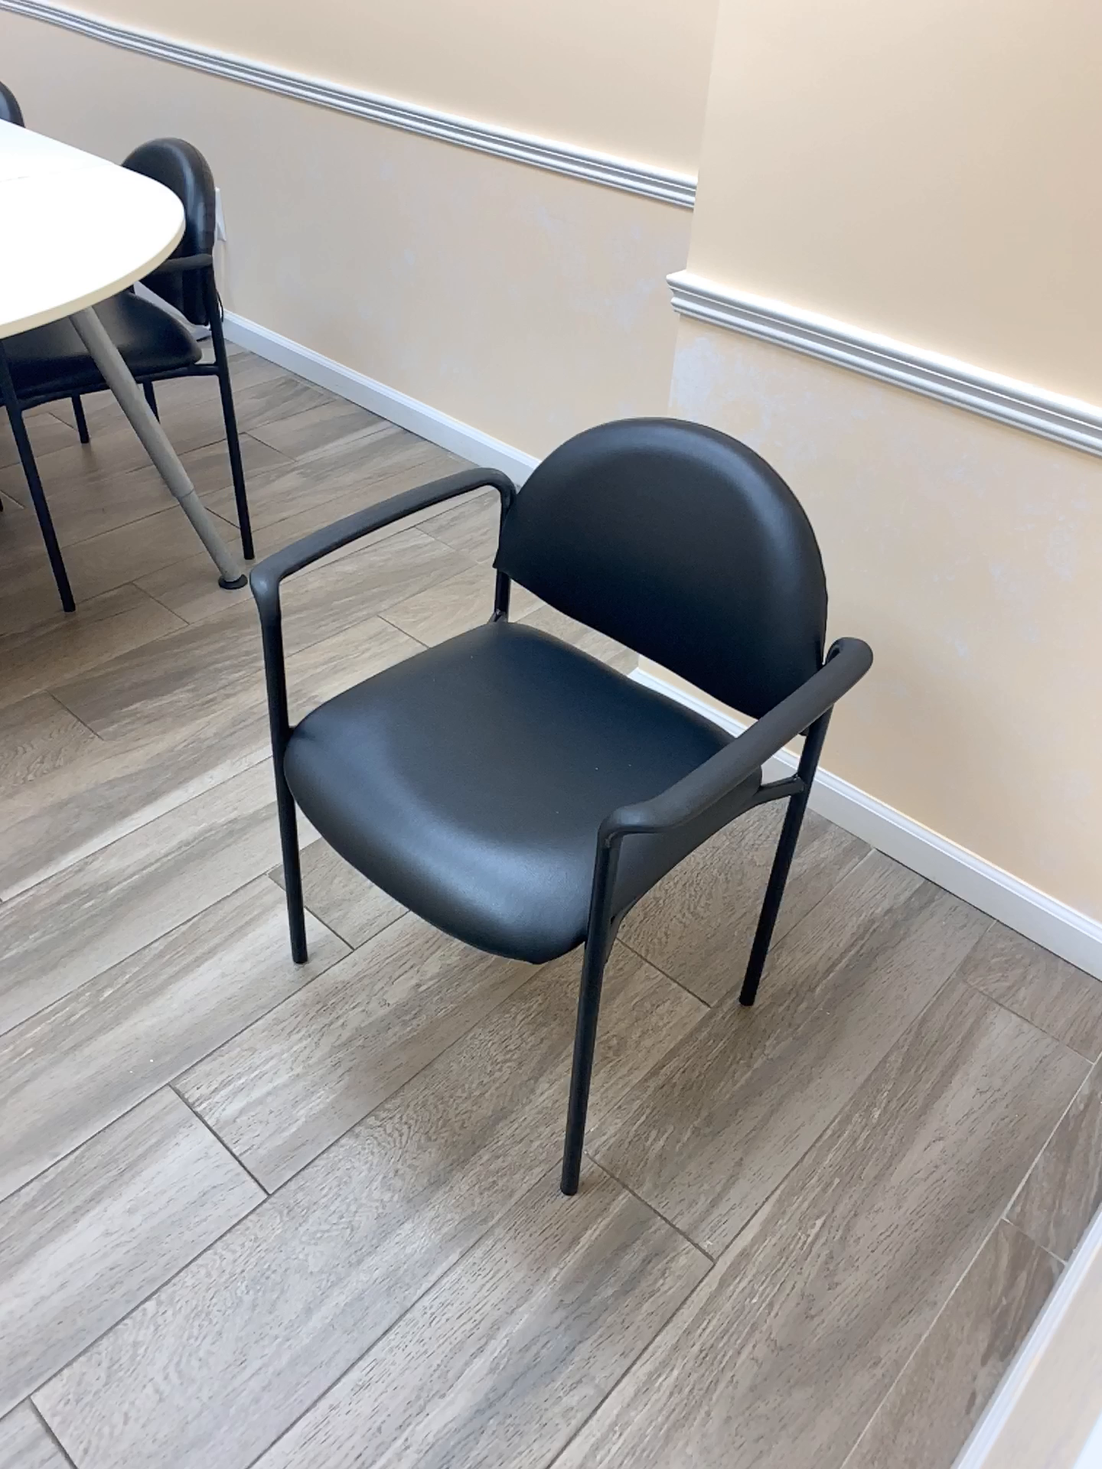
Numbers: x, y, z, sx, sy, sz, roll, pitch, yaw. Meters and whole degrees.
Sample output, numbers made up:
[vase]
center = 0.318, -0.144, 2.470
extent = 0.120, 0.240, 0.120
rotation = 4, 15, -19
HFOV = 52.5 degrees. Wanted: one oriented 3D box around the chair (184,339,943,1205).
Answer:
[chair]
center = -0.002, 0.020, 1.367
extent = 0.584, 0.726, 0.512
rotation = 31, 46, 29
